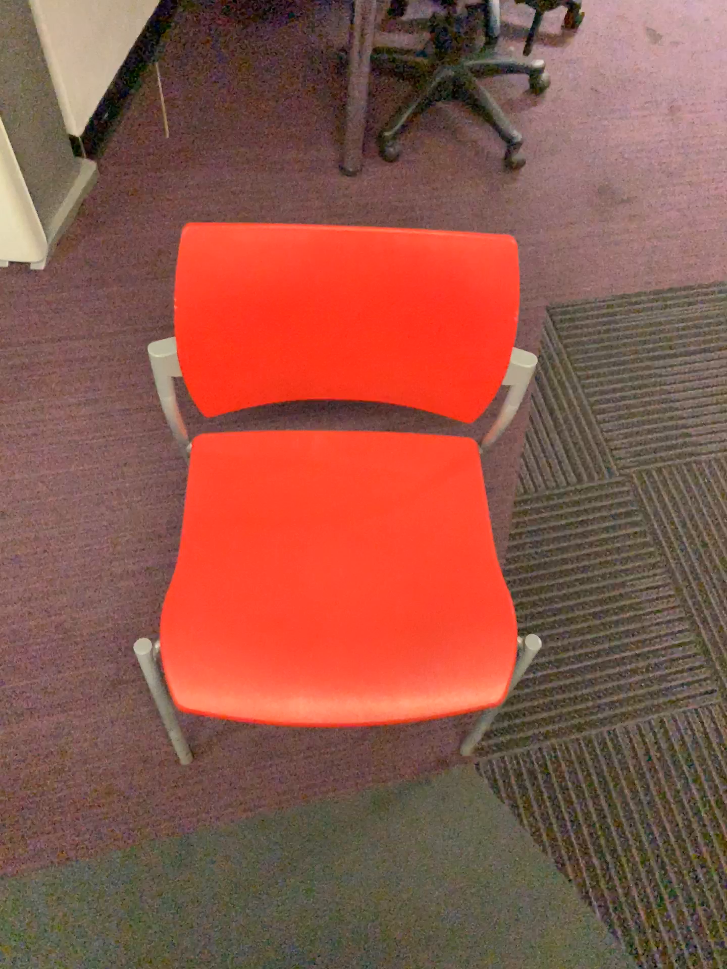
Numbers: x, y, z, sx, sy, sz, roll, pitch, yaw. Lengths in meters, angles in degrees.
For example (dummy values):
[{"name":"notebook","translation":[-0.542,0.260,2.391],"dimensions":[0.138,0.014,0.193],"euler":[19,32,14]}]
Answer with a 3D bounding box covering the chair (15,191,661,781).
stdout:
[{"name":"chair","translation":[-0.023,0.071,1.057],"dimensions":[0.540,0.686,0.563],"euler":[2,62,-1]}]
